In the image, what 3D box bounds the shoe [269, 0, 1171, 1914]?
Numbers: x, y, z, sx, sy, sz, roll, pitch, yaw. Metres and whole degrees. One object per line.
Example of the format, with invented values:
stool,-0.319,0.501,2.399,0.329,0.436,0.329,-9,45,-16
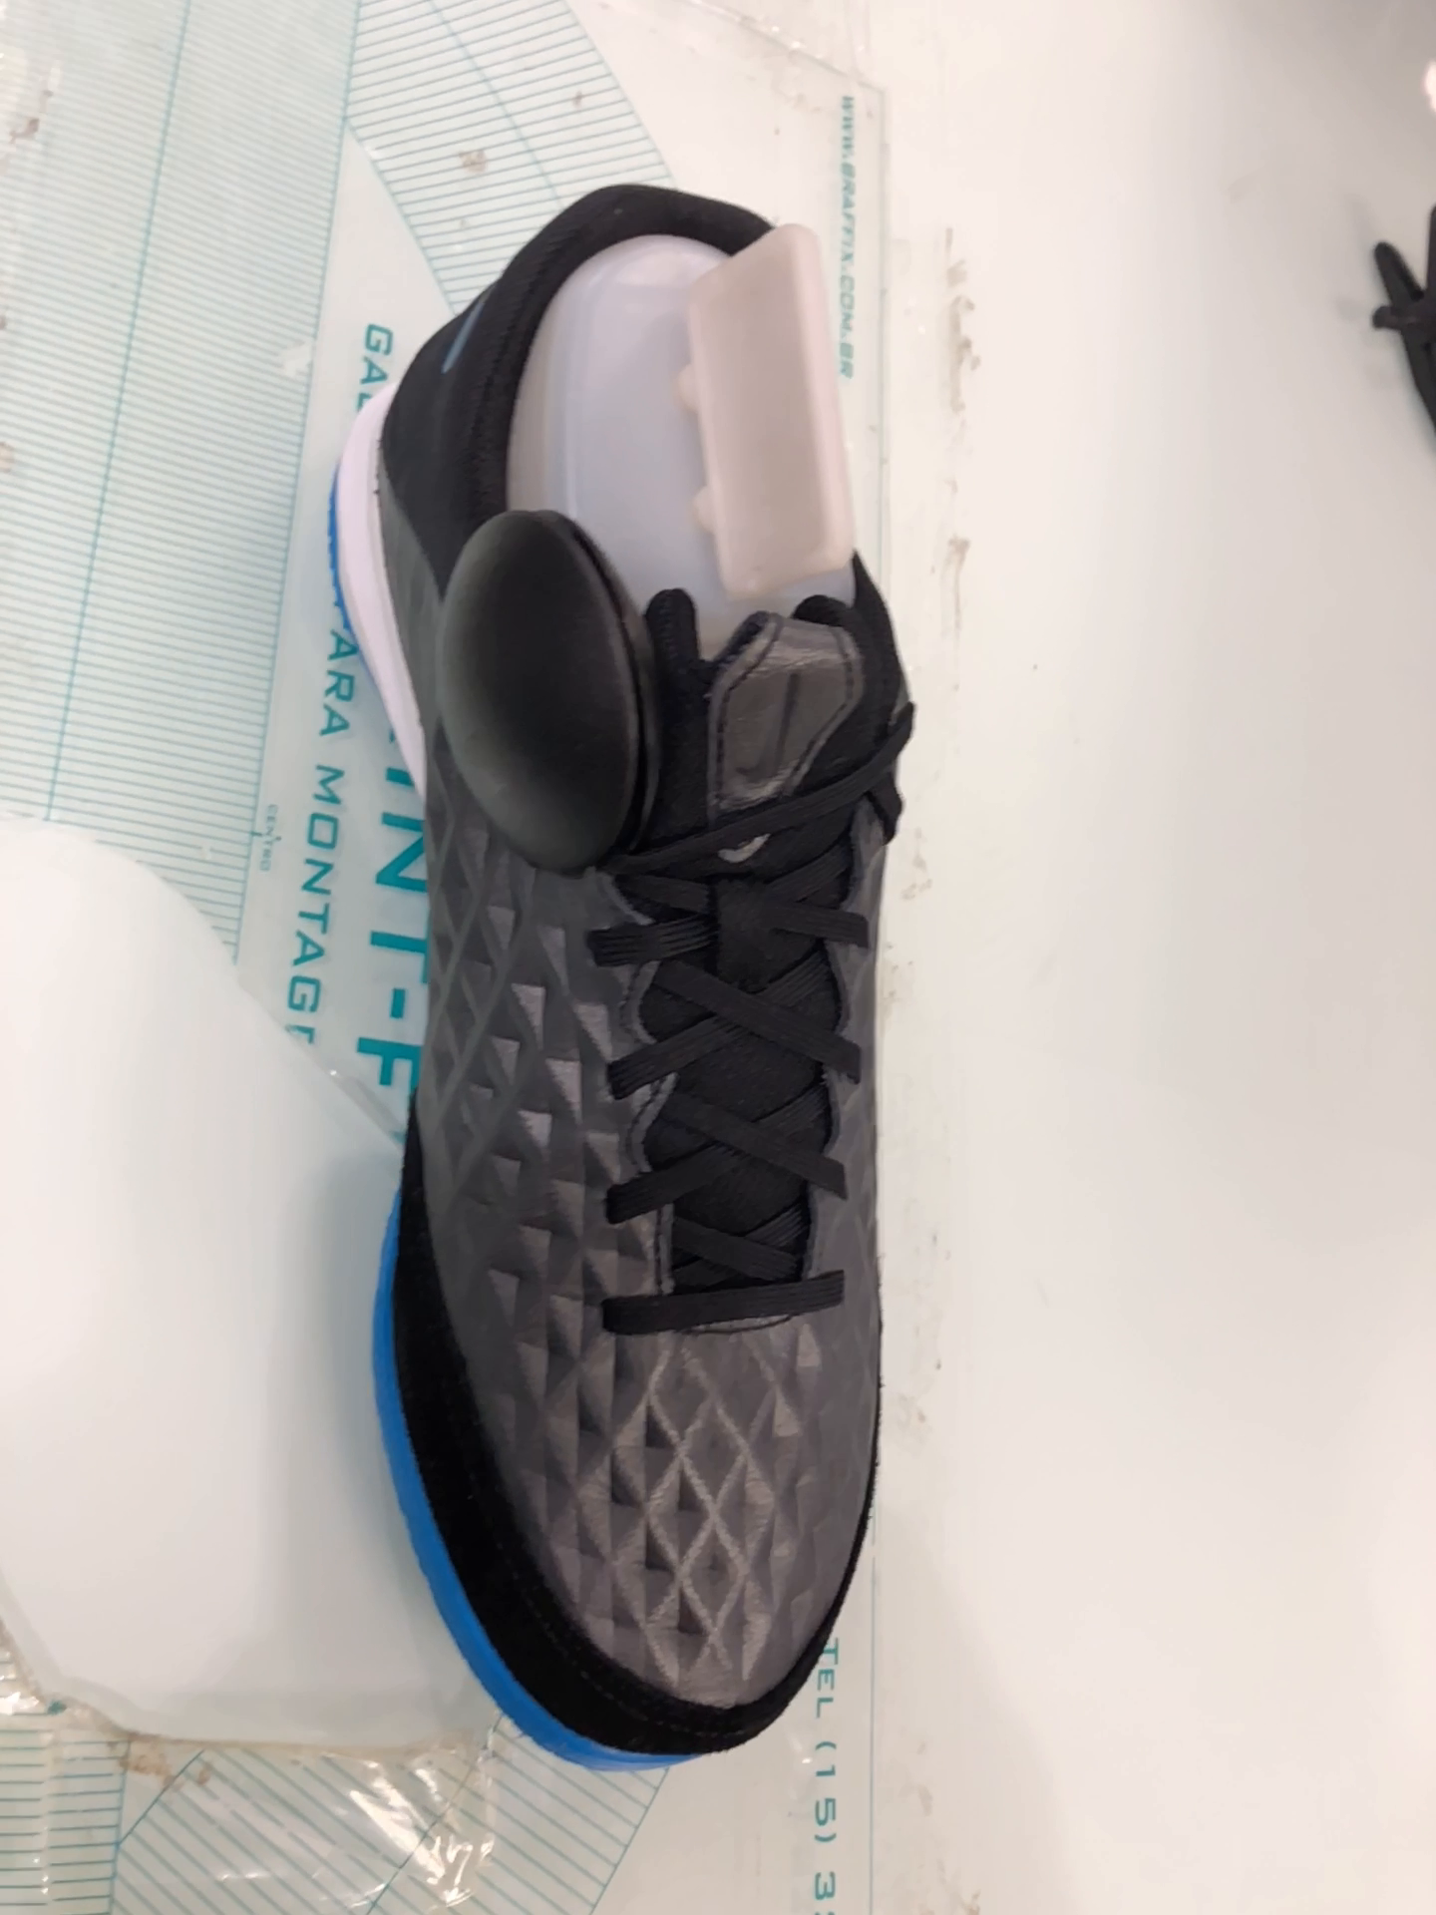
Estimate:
shoe,-0.014,-0.007,0.294,0.100,0.100,0.290,0,75,-28
